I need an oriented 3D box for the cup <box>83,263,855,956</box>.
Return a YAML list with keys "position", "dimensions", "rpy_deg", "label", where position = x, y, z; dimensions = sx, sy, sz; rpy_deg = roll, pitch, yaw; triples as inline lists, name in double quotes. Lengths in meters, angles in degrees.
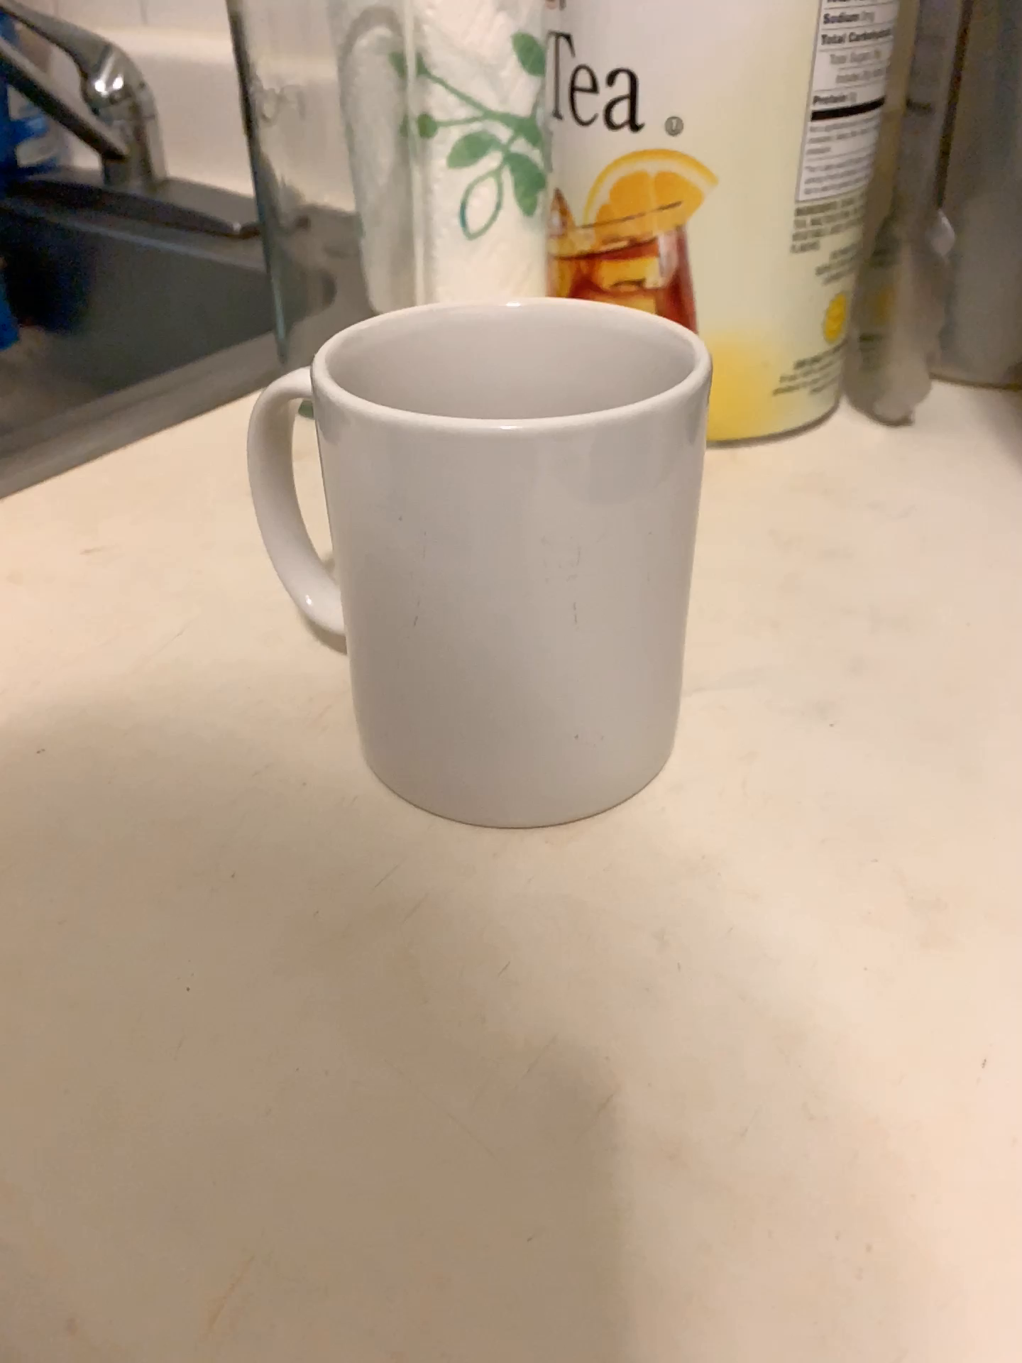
- position: [-0.007, -0.027, 0.261]
  dimensions: [0.140, 0.109, 0.090]
  rpy_deg: [17, 39, 22]
  label: "cup"
